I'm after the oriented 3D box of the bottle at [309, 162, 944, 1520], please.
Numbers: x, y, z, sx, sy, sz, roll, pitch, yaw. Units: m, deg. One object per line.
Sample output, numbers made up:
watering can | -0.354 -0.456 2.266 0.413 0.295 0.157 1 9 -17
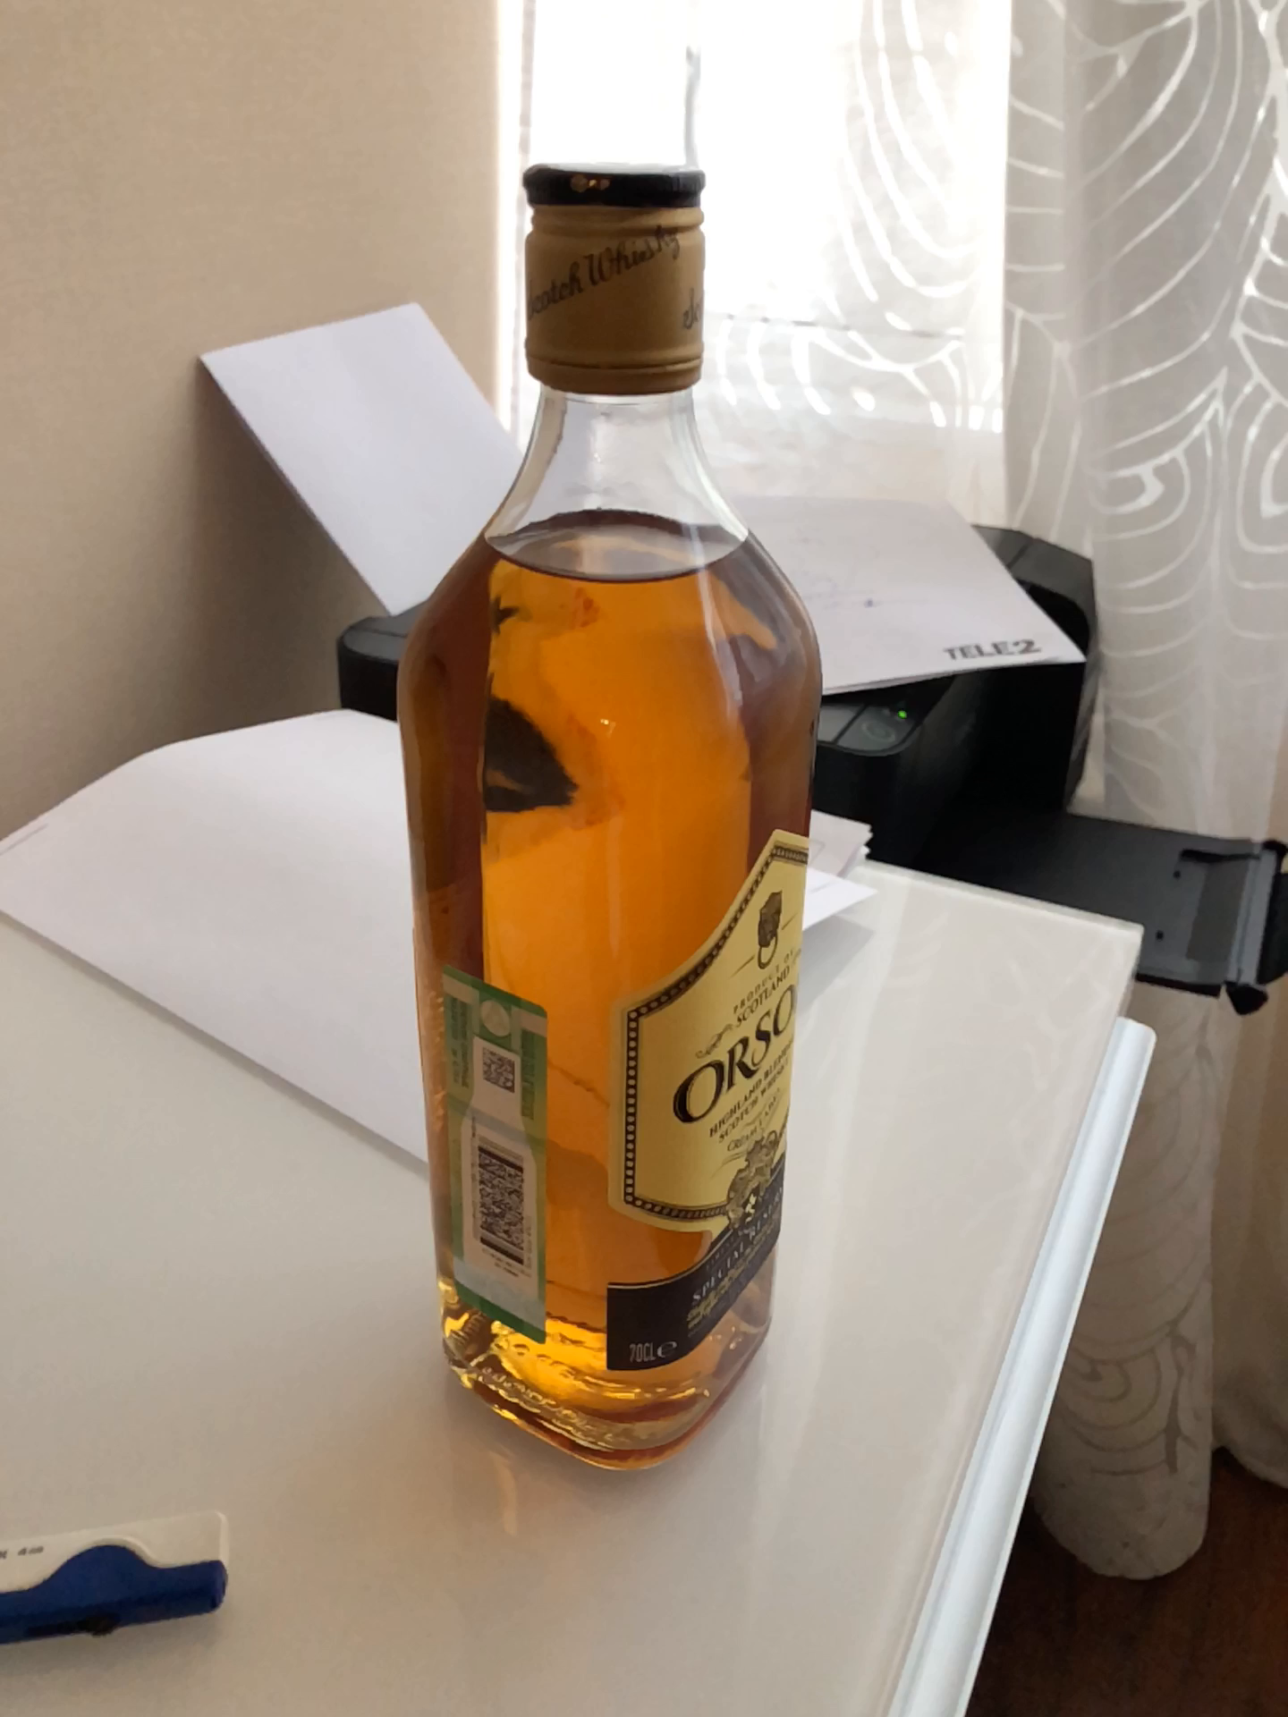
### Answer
bottle | -0.002 0.003 0.292 0.070 0.258 0.080 19 33 30
